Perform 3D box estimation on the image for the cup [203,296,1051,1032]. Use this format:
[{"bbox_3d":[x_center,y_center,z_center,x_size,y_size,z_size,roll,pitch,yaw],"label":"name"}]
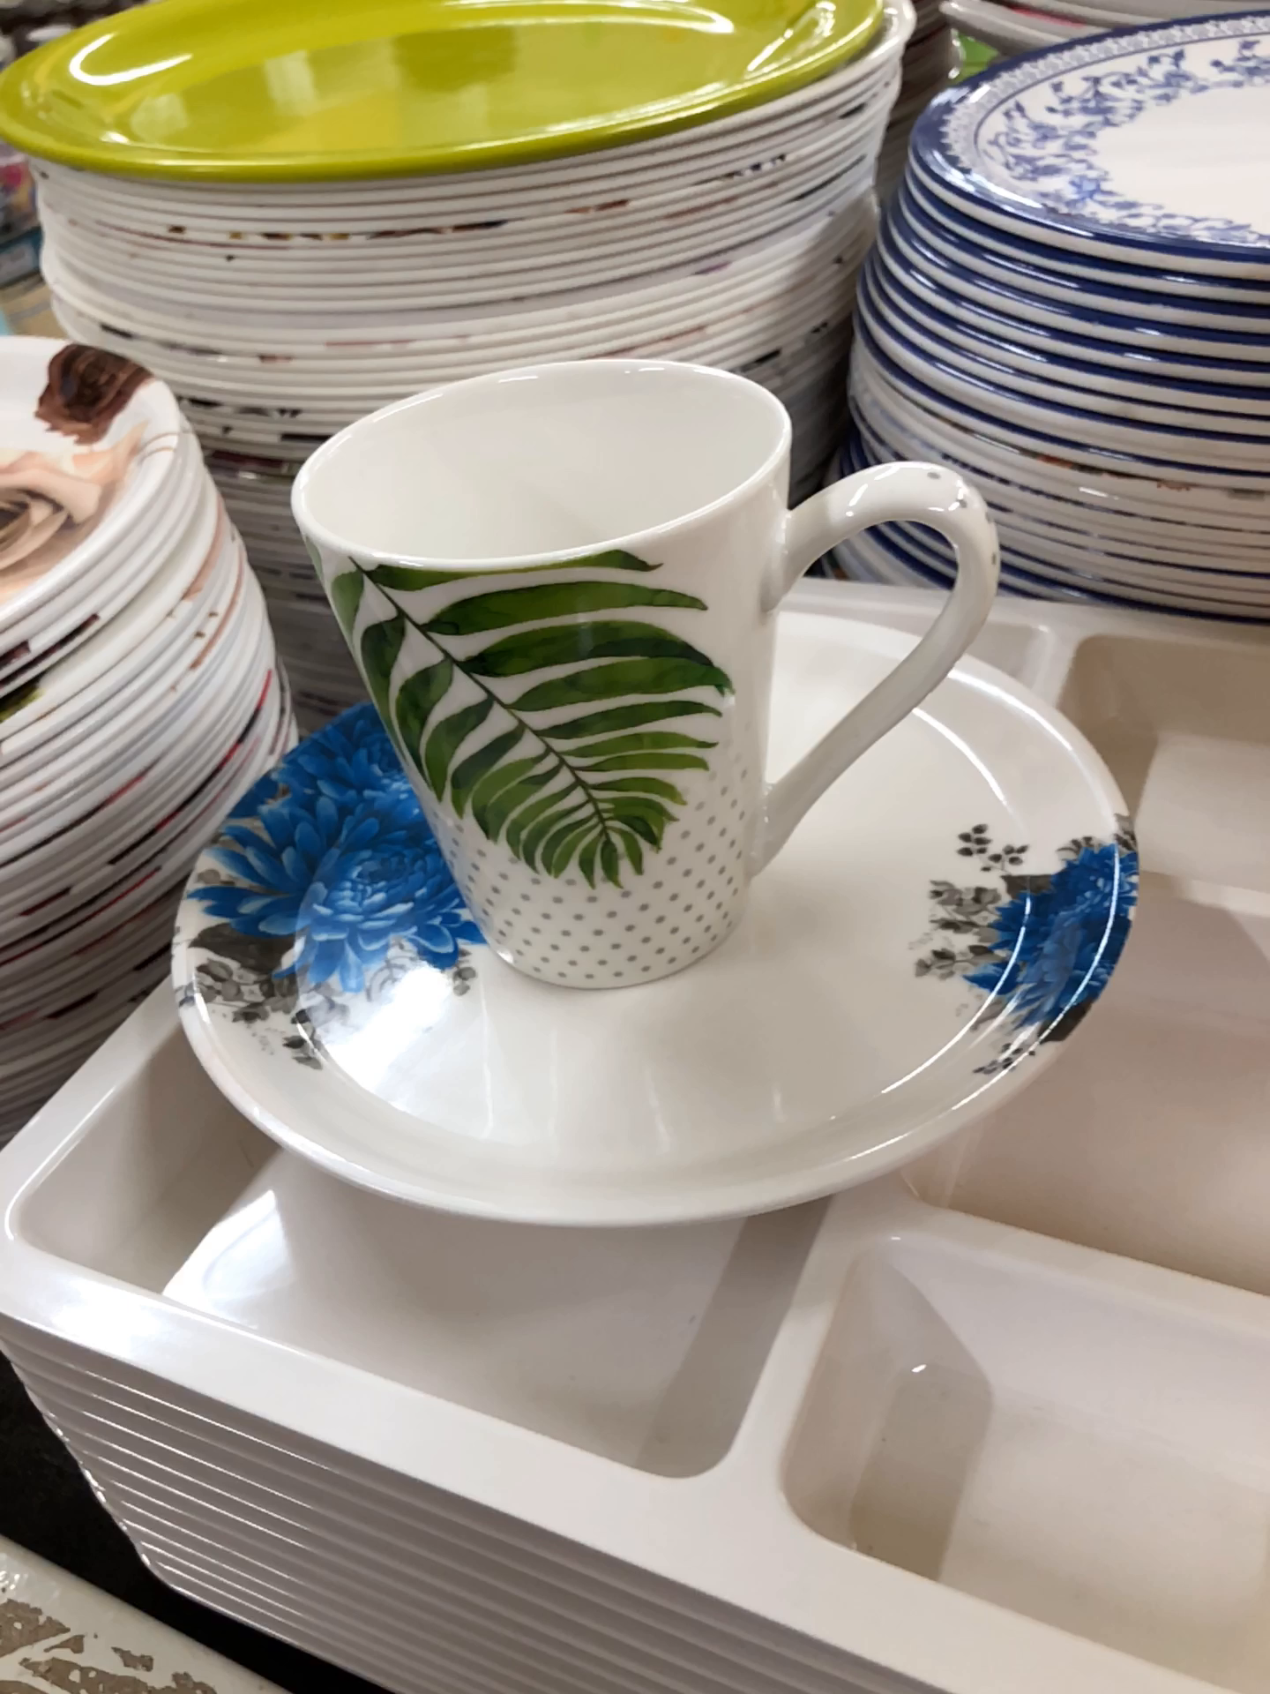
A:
[{"bbox_3d":[0.001,-0.034,0.258,0.120,0.089,0.081,-7,39,0],"label":"cup"}]
